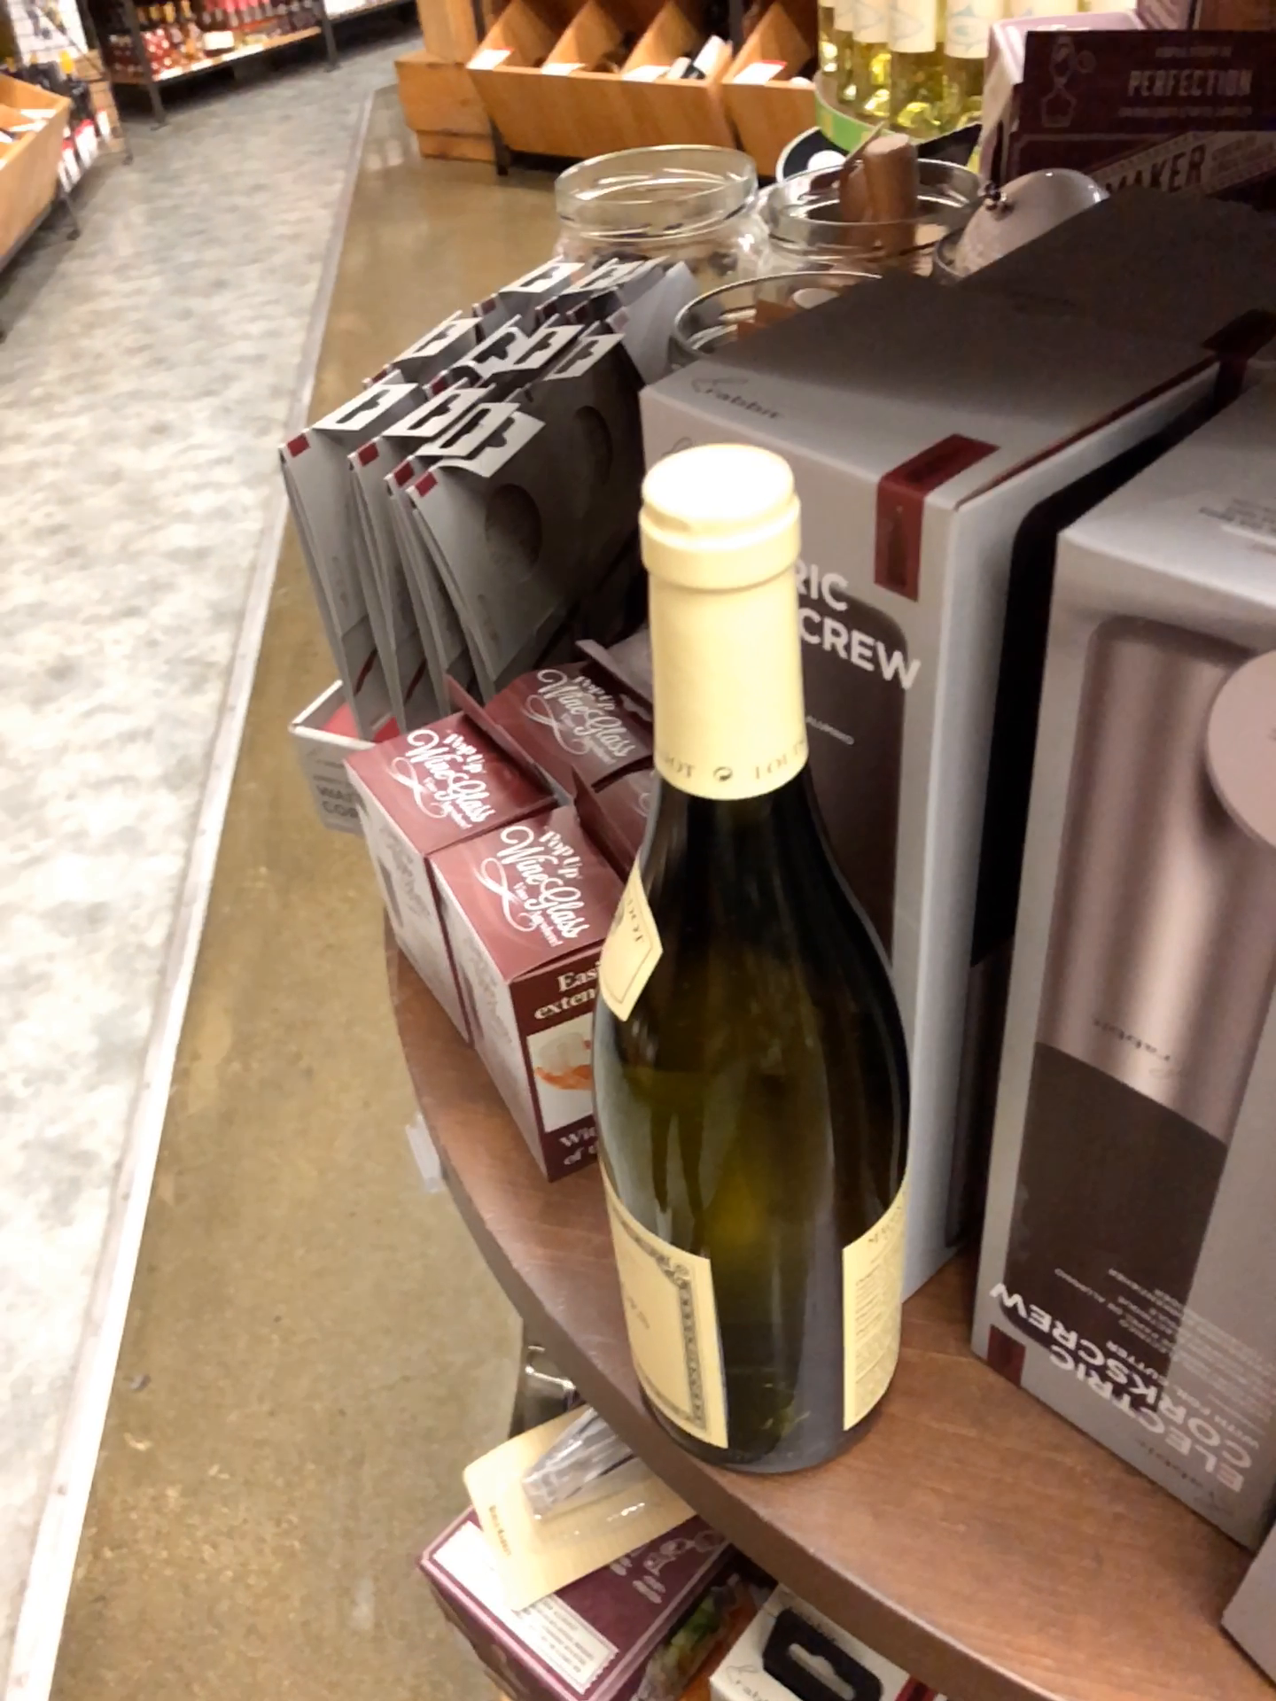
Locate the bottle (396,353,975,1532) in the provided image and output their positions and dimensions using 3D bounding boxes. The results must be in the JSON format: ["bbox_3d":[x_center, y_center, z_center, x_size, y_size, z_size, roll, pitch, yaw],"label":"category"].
[{"bbox_3d":[0.028,0.046,0.344,0.090,0.299,0.090,-5,39,4],"label":"bottle"}]
